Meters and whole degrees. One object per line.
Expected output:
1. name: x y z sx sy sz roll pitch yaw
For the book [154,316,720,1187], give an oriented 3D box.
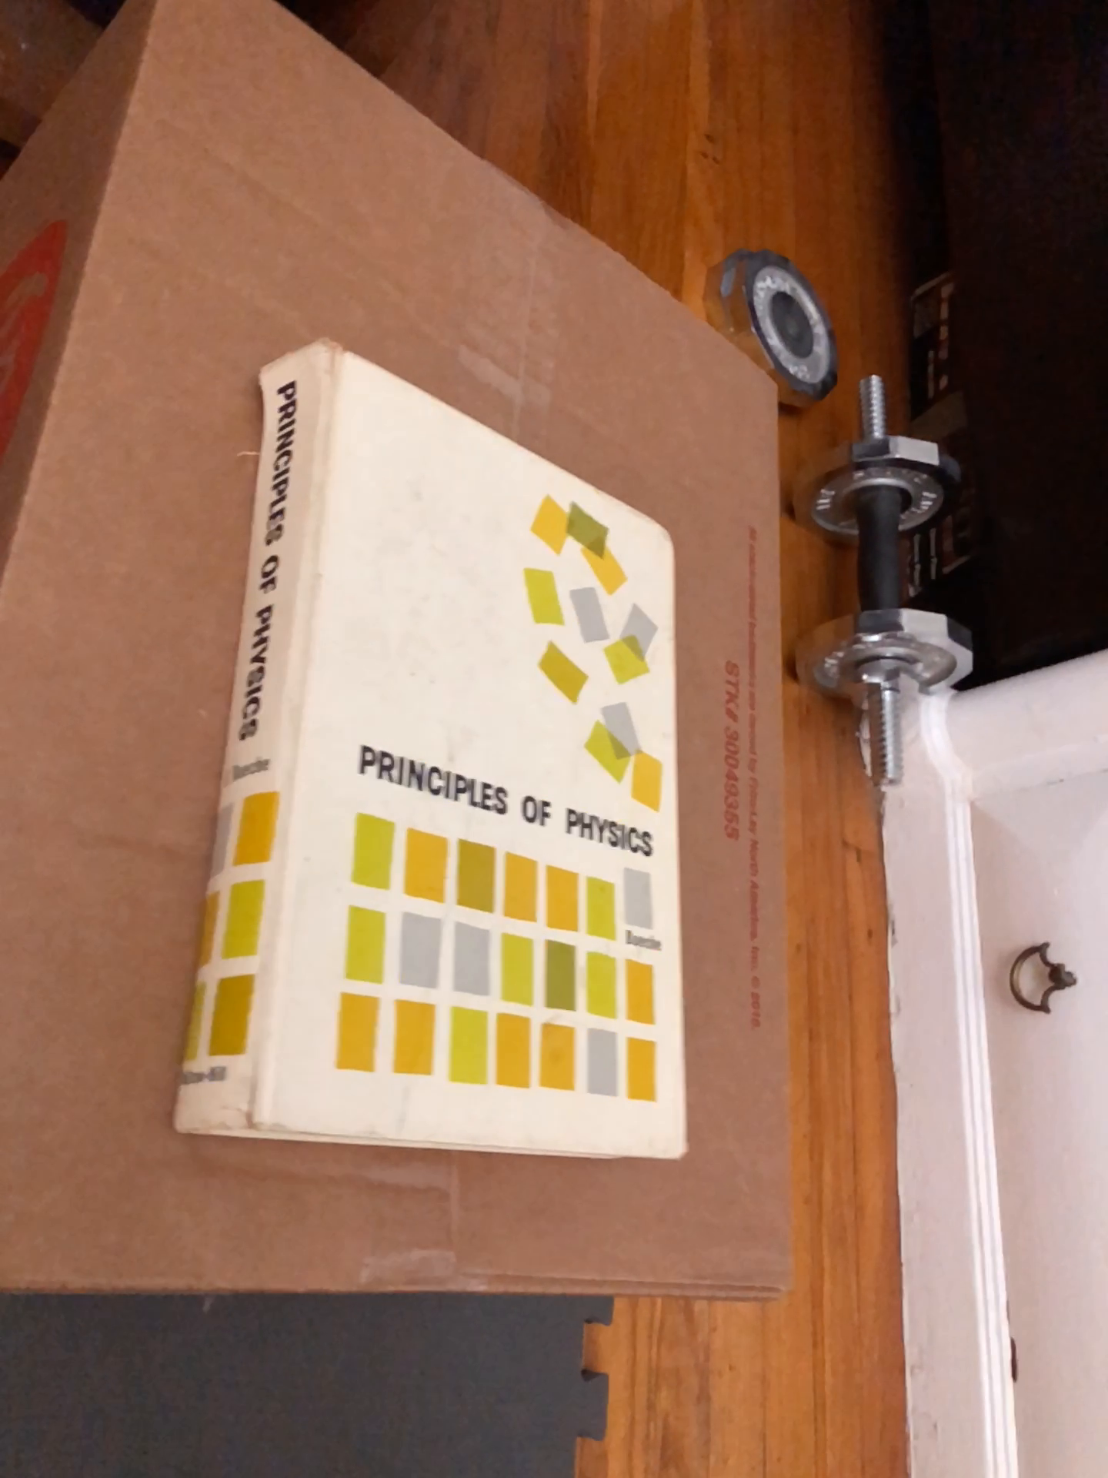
1. book: -0.021 0.012 0.408 0.181 0.040 0.251 20 62 -38
